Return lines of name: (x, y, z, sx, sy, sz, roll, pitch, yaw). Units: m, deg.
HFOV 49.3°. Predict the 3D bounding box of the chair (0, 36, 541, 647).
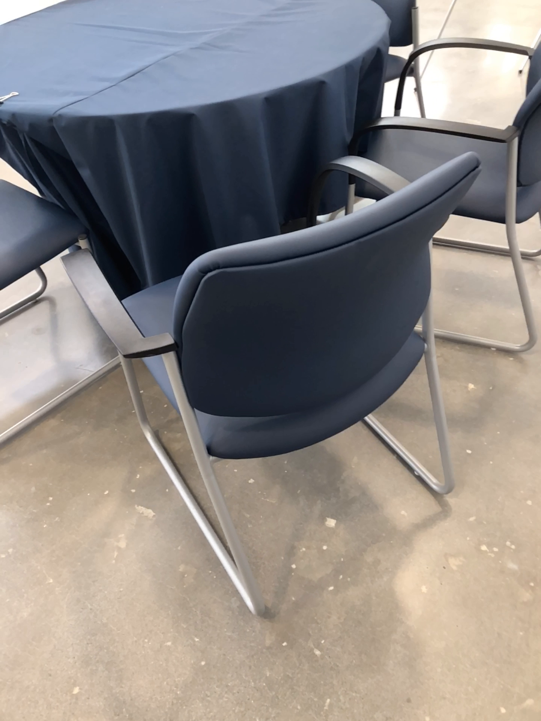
chair: (-0.007, -0.070, 1.148, 0.641, 0.765, 0.674, -26, 47, -20)
